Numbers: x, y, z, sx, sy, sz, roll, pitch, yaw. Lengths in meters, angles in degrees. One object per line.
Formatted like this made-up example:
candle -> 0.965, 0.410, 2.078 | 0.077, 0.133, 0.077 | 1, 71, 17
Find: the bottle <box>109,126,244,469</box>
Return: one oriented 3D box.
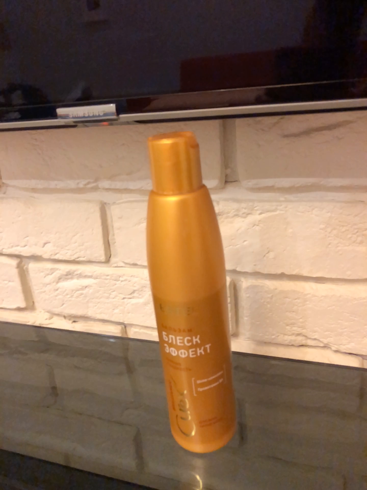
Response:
bottle -> 0.005, 0.035, 0.248 | 0.050, 0.199, 0.060 | 0, 22, 15
